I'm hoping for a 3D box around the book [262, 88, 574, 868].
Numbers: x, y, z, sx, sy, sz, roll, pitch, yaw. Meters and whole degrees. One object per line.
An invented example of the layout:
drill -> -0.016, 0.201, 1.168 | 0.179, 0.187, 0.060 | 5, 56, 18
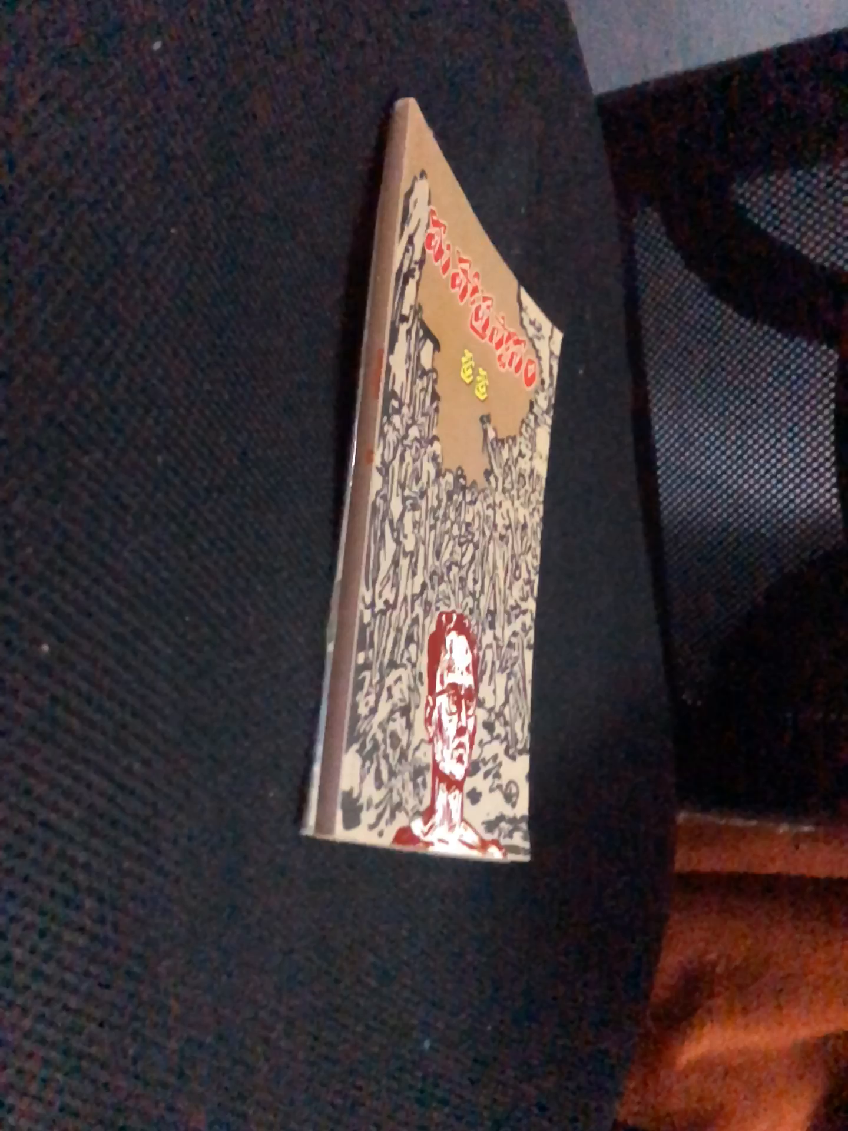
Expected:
book -> 0.012, -0.016, 0.313 | 0.141, 0.018, 0.220 | 34, 60, -59
